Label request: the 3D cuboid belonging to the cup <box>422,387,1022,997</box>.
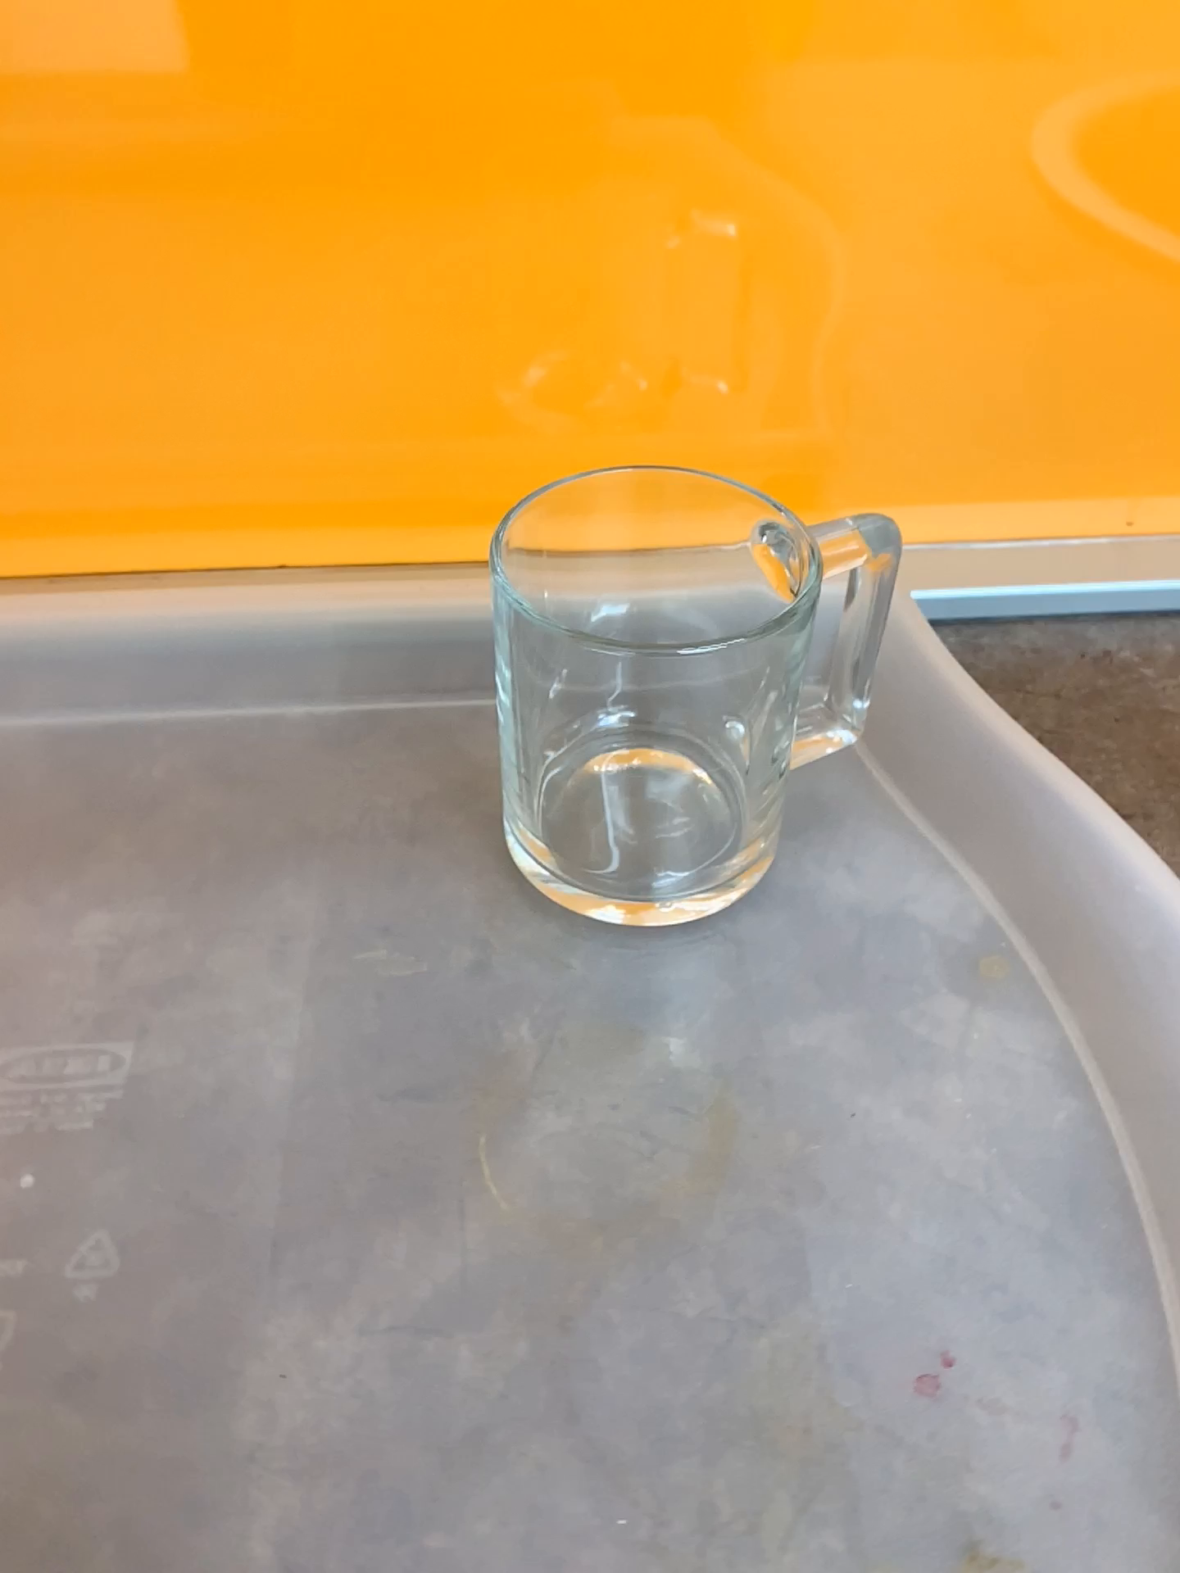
[{"bbox_3d":[0.025,-0.025,0.310,0.109,0.104,0.082,-16,48,-18],"label":"cup"}]
